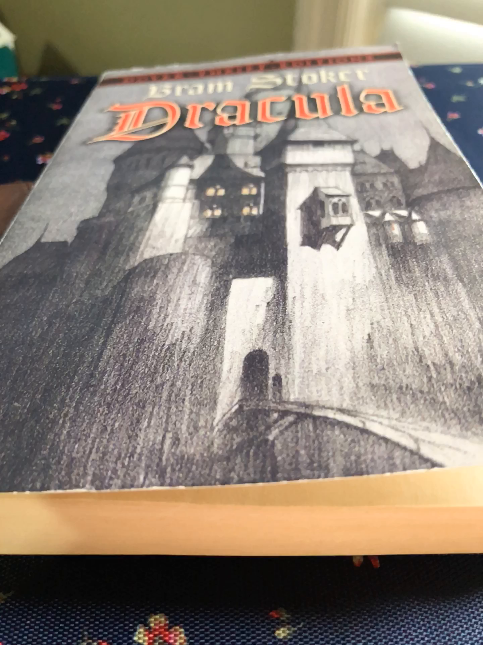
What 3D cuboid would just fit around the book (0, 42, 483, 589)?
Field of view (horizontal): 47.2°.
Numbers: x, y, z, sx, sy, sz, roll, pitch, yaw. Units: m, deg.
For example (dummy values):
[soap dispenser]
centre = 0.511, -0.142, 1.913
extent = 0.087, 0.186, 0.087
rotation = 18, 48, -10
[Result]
[book]
centre = -0.001, -0.031, 0.169
extent = 0.130, 0.033, 0.203
rotation = -3, 43, 5
